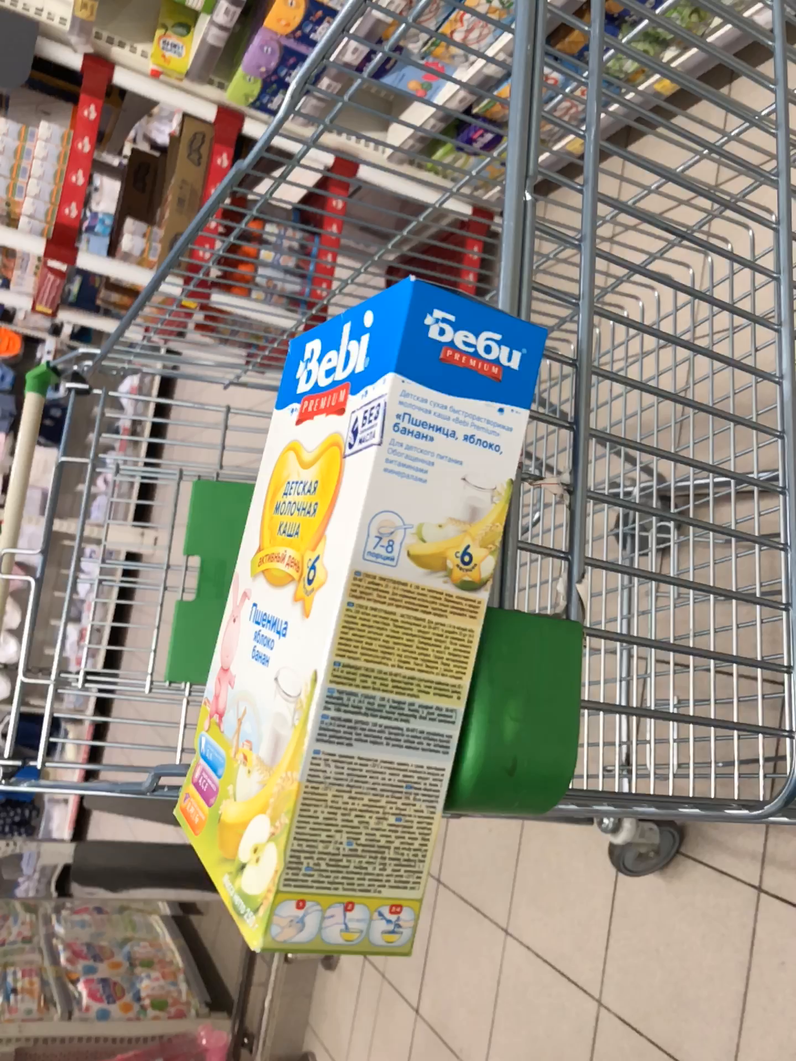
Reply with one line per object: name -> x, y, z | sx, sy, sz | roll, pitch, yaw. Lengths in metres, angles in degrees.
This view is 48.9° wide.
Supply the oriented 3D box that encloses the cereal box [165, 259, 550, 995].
cereal box -> -0.024, 0.027, 0.316 | 0.131, 0.050, 0.210 | 5, 81, 67
